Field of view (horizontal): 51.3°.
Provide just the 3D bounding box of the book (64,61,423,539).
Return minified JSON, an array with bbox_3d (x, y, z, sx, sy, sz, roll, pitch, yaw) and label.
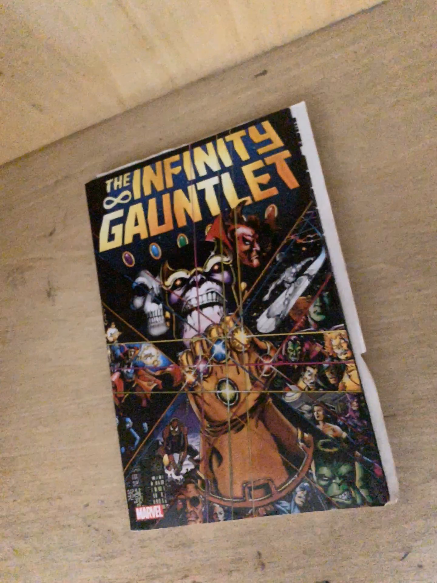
[{"bbox_3d":[-0.003,0.006,0.305,0.190,0.030,0.270,-15,75,18],"label":"book"}]
